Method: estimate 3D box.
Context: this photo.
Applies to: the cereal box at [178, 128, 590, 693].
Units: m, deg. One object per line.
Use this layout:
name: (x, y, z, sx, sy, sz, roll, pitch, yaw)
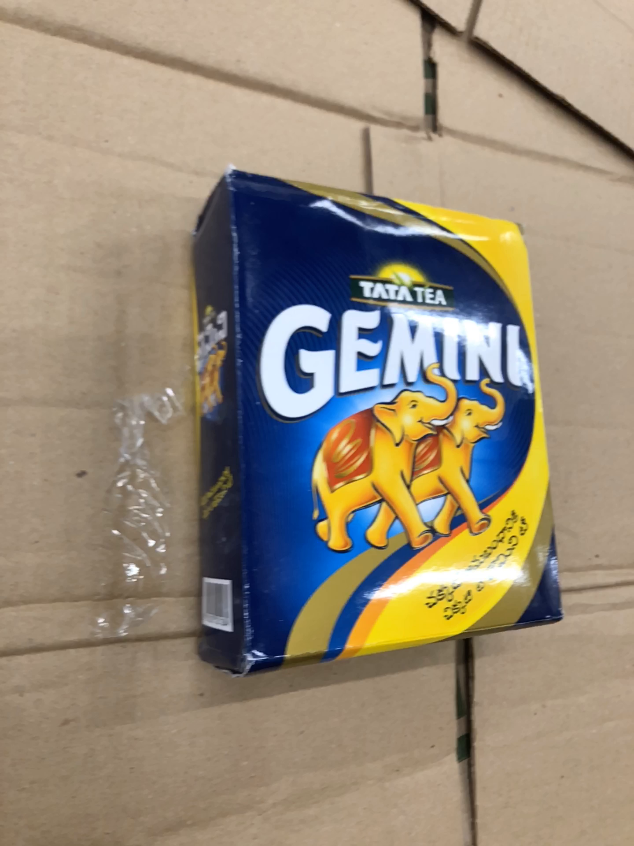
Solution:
cereal box: (0.025, -0.003, 0.267, 0.141, 0.050, 0.170, 1, 83, -27)
